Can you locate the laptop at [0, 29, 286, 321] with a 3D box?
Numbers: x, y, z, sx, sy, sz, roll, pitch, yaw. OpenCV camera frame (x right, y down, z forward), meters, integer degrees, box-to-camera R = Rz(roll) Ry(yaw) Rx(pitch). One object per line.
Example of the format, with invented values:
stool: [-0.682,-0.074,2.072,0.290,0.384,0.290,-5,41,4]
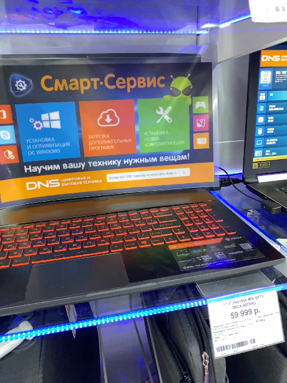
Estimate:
laptop: [-0.055,-0.063,0.400,0.404,0.237,0.288,-6,22,-12]
